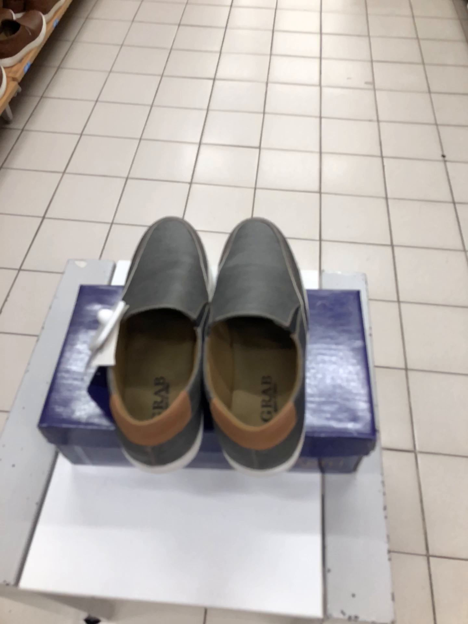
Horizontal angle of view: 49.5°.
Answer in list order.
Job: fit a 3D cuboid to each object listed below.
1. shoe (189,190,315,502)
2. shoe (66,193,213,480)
[{"bbox_3d":[0.026,0.022,0.542,0.100,0.119,0.312,3,54,3],"label":"shoe"},{"bbox_3d":[-0.076,0.013,0.500,0.100,0.100,0.271,-1,54,0],"label":"shoe"}]
